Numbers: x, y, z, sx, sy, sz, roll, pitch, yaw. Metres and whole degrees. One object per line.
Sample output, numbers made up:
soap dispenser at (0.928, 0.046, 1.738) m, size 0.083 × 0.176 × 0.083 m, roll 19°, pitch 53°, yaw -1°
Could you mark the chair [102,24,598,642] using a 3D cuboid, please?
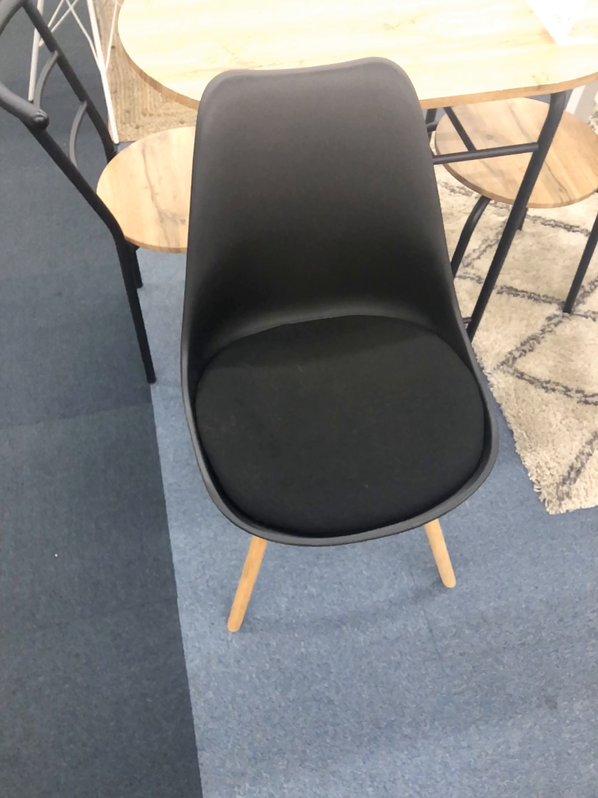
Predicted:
chair at (0.040, -0.016, 1.063) m, size 0.490 × 0.858 × 0.501 m, roll -9°, pitch 57°, yaw -8°
